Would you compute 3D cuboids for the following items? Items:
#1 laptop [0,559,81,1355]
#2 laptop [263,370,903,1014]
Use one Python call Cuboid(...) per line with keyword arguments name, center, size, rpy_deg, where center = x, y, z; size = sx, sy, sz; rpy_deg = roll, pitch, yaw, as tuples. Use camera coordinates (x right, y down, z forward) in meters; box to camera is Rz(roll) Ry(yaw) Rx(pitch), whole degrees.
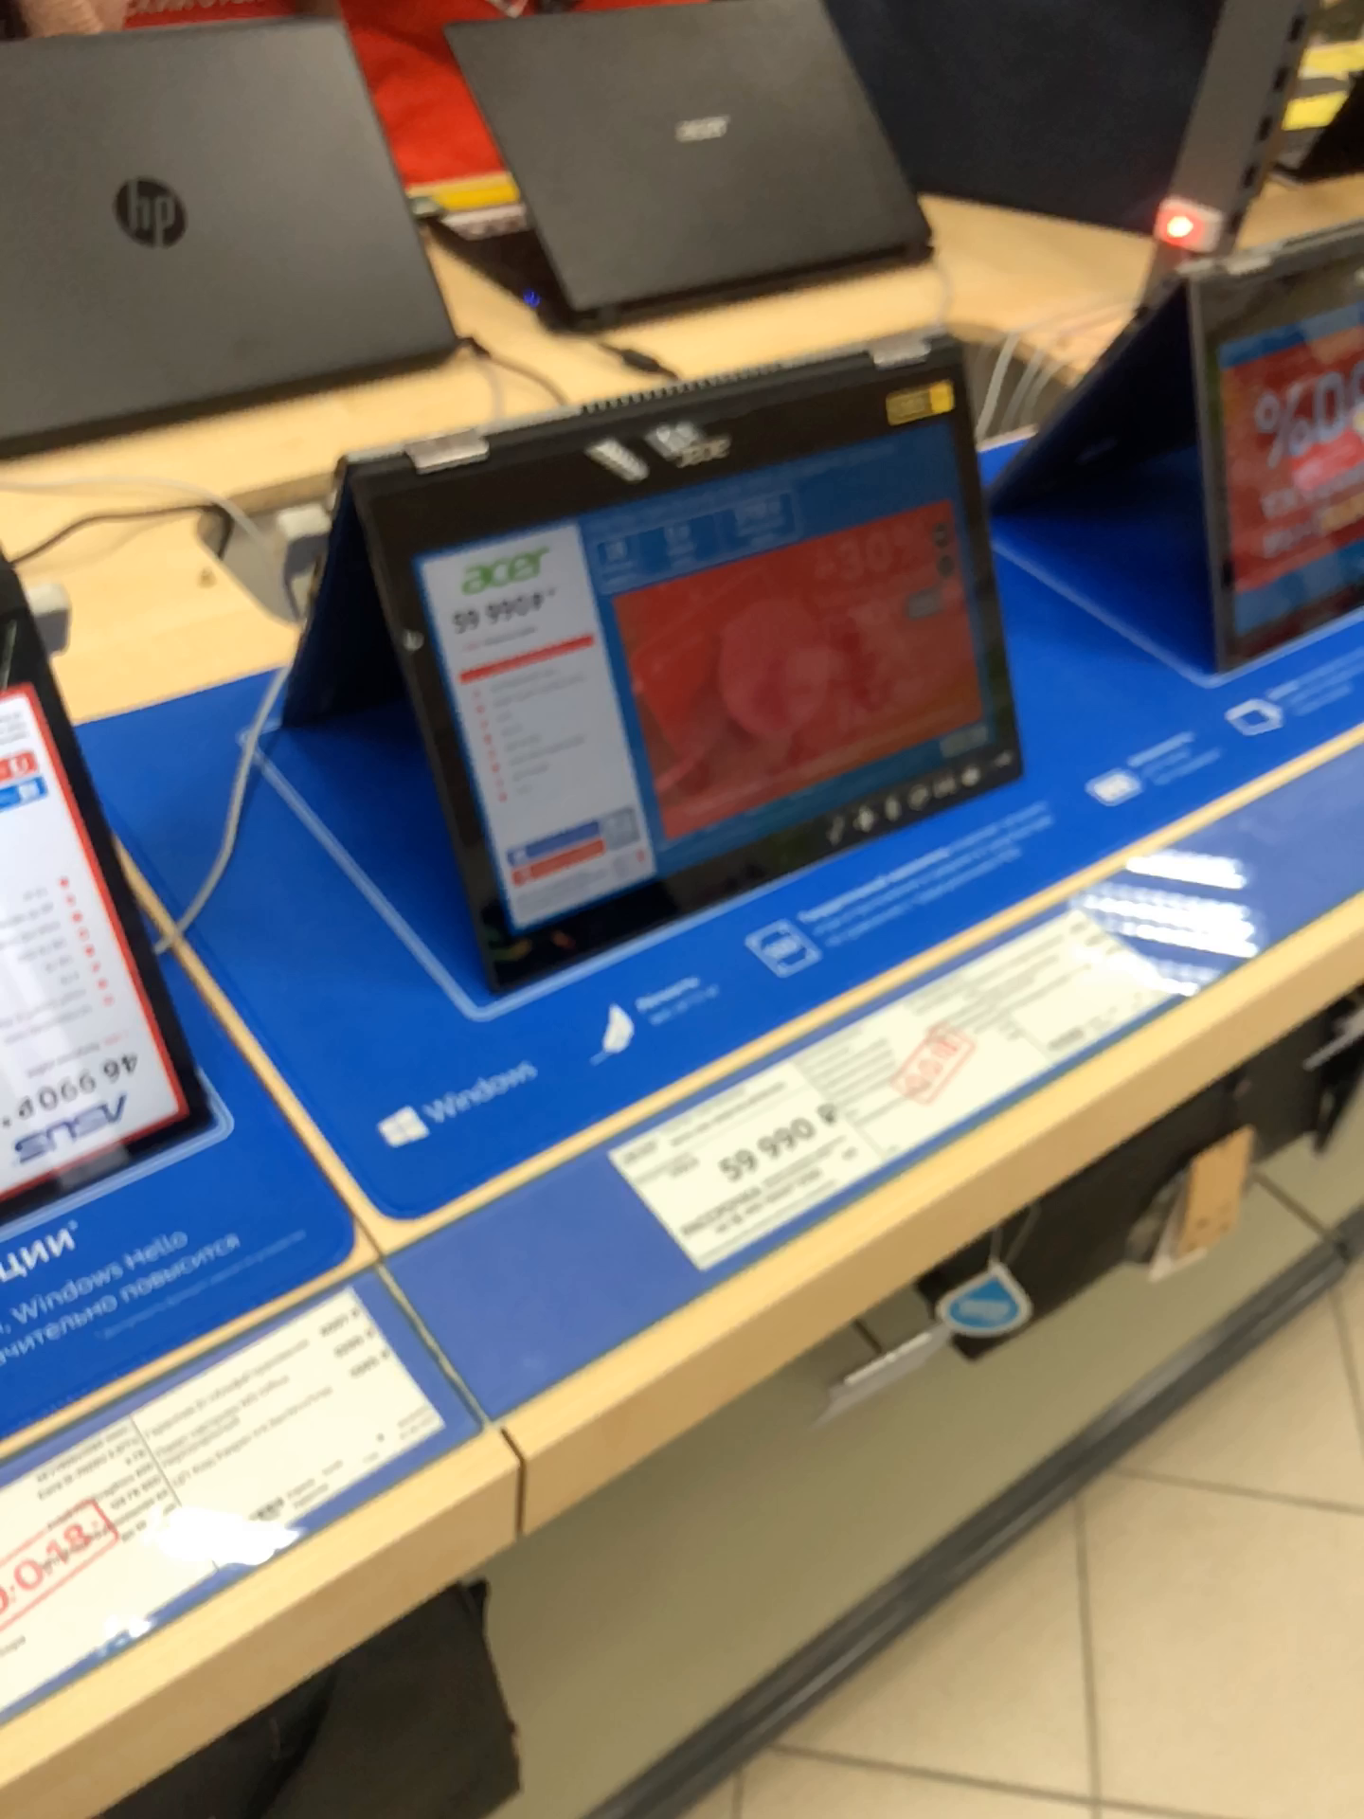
Cuboid(name="laptop", center=(-0.379, 0.038, 0.582), size=(0.270, 0.179, 0.175), rpy_deg=(-23, 20, -33))
Cuboid(name="laptop", center=(-0.058, -0.106, 0.829), size=(0.308, 0.159, 0.201), rpy_deg=(-24, 14, -37))
